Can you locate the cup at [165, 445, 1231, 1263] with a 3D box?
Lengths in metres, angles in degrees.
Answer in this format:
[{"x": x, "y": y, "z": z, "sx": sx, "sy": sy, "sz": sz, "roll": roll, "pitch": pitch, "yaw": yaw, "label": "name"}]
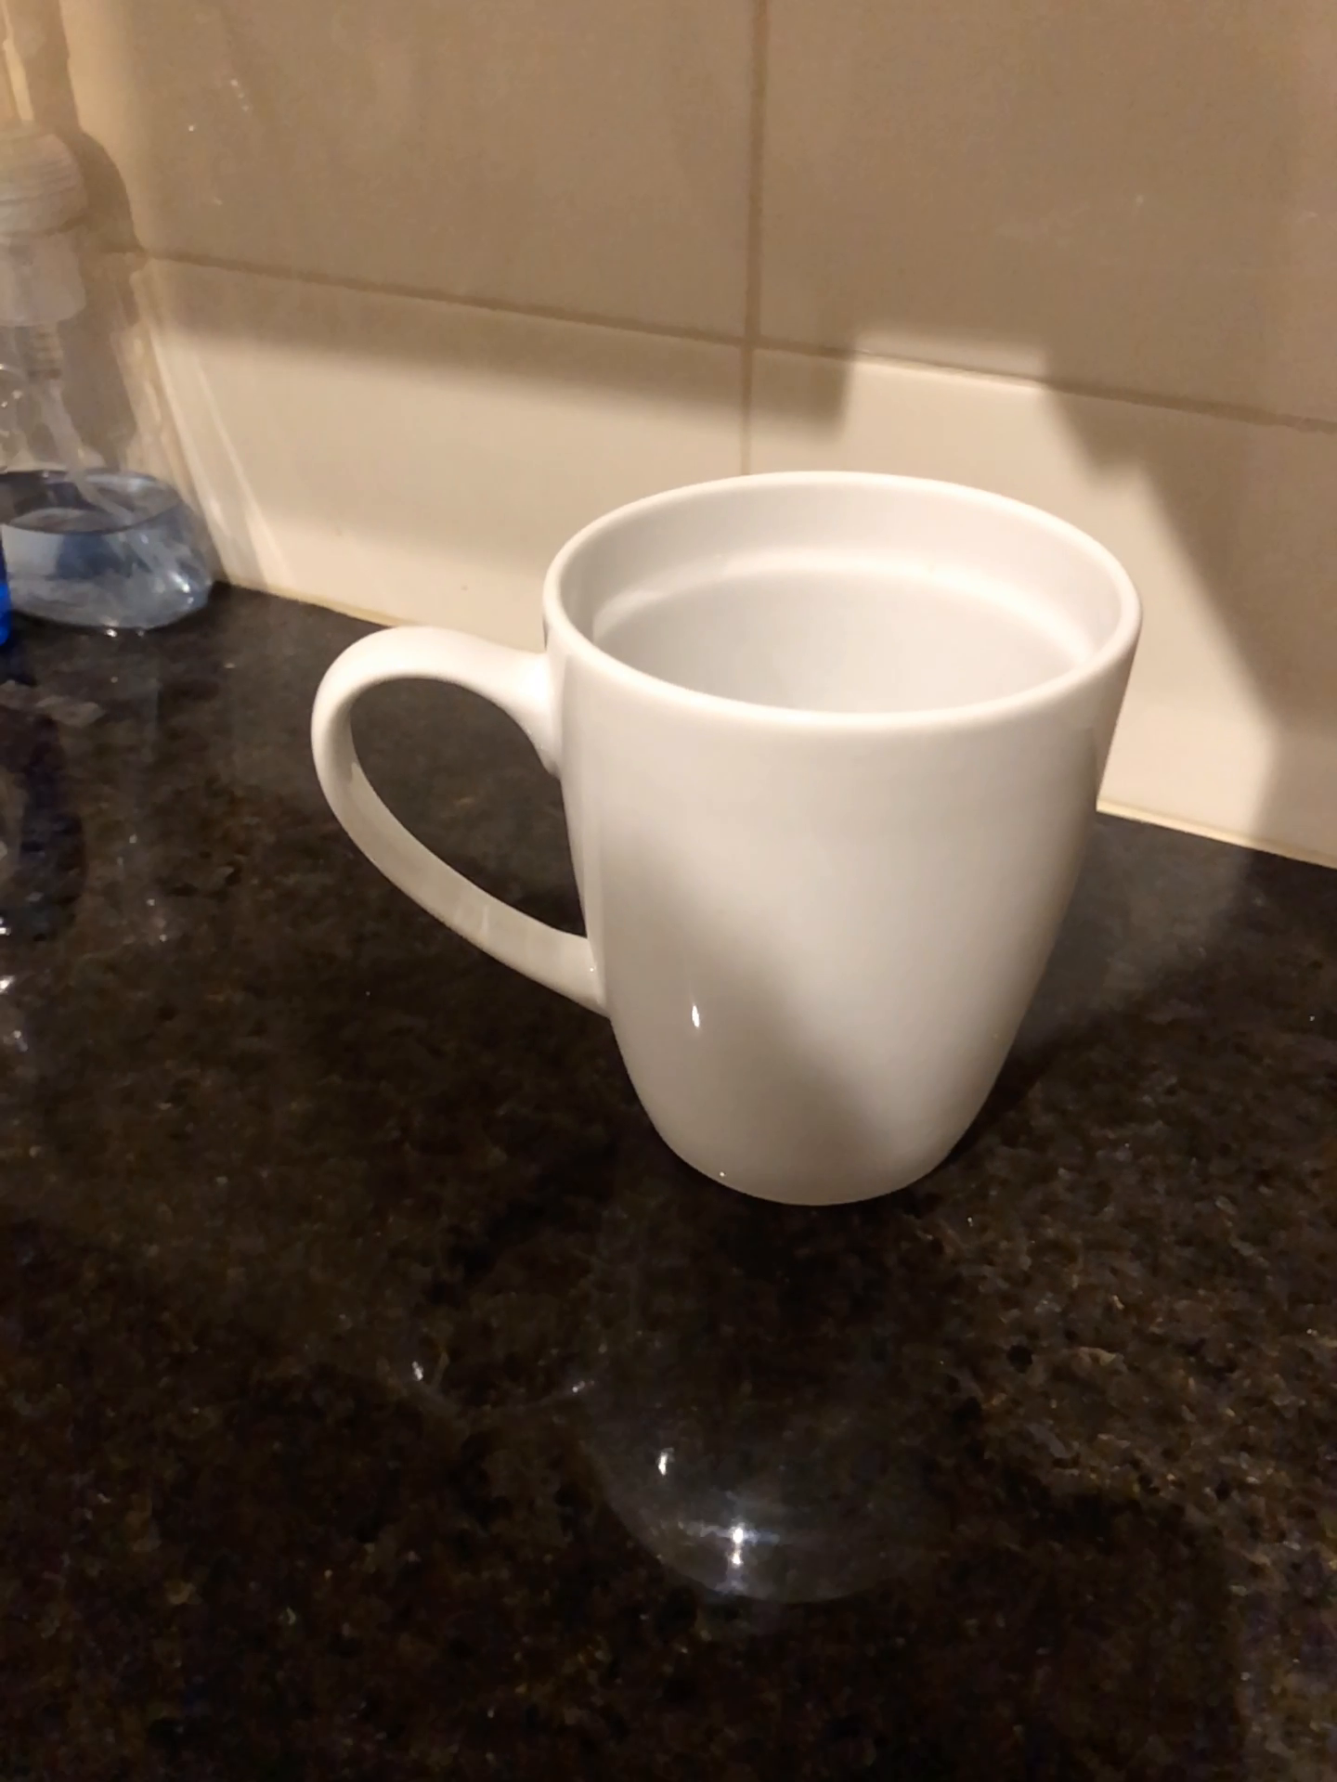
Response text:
[{"x": 0.006, "y": -0.011, "z": 0.244, "sx": 0.130, "sy": 0.090, "sz": 0.090, "roll": 4, "pitch": 35, "yaw": 5, "label": "cup"}]
